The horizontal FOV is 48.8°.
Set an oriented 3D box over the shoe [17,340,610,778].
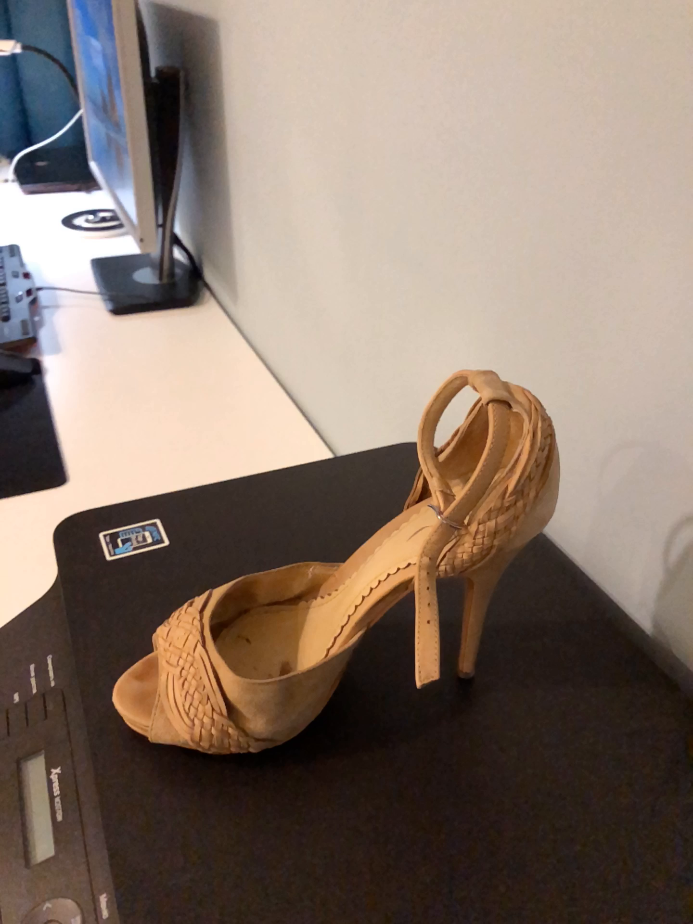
[{"bbox_3d":[-0.015,0.042,0.360,0.220,0.159,0.091,-6,34,-10],"label":"shoe"}]
